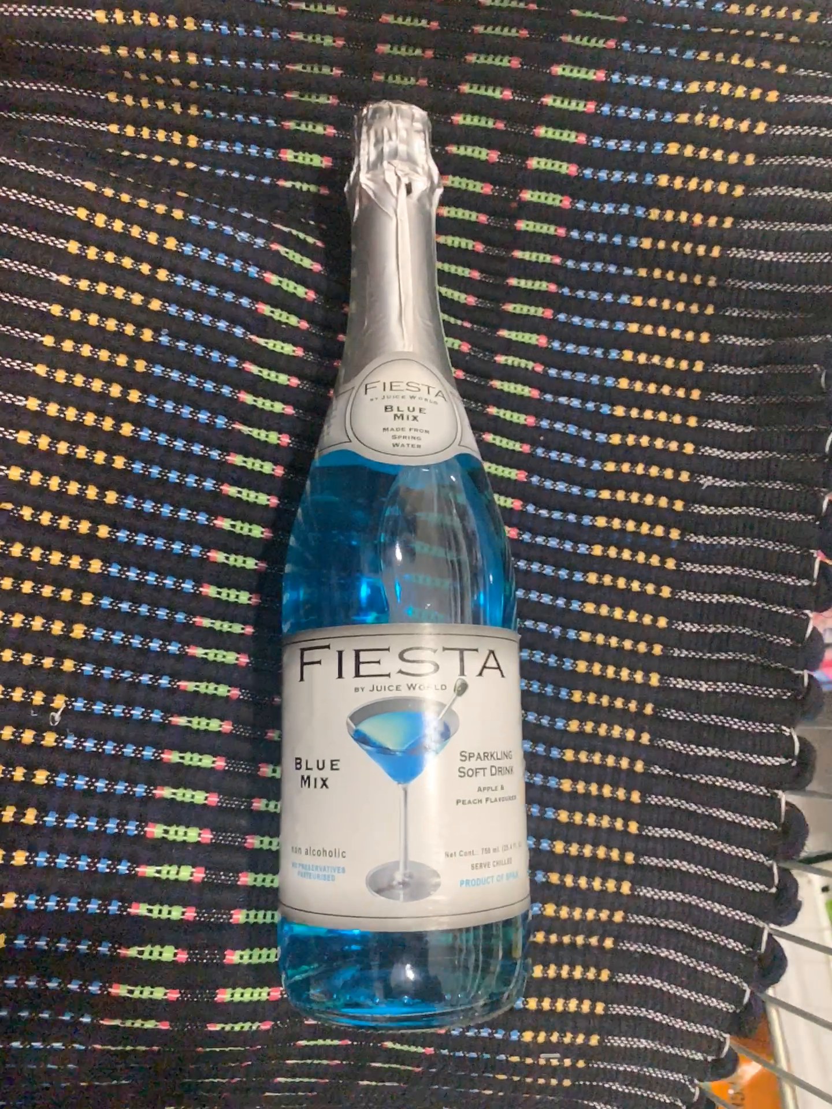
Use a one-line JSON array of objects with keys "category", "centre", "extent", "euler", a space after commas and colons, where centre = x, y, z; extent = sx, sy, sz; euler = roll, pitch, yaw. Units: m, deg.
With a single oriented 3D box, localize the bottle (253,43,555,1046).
[{"category": "bottle", "centre": [-0.010, -0.012, 0.310], "extent": [0.080, 0.100, 0.310], "euler": [0, 77, -6]}]
